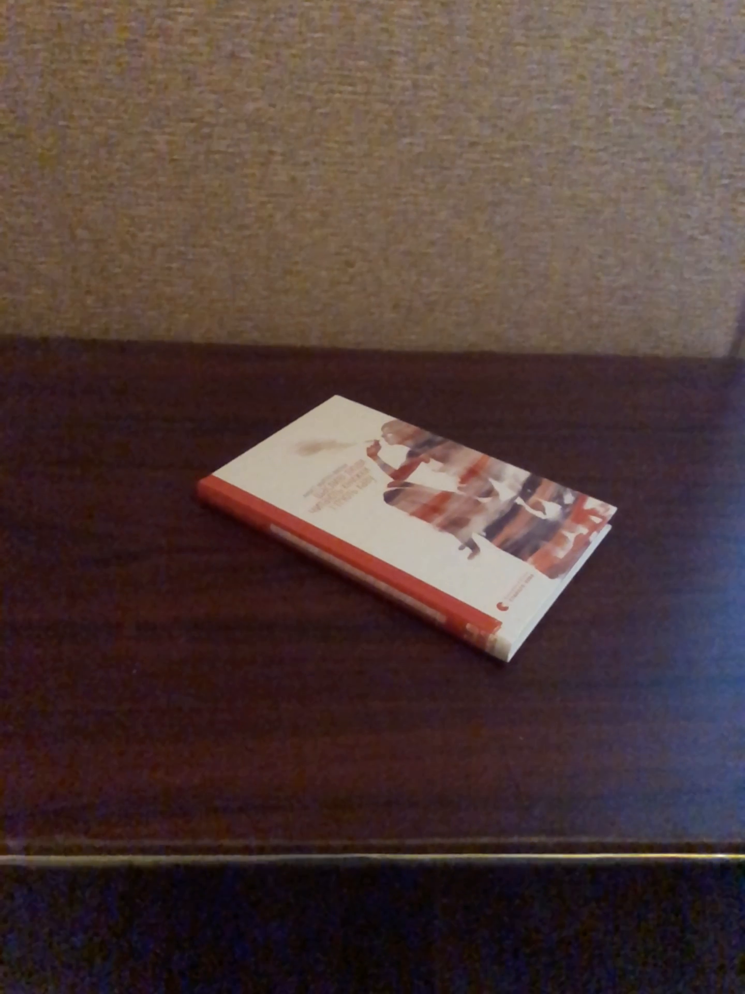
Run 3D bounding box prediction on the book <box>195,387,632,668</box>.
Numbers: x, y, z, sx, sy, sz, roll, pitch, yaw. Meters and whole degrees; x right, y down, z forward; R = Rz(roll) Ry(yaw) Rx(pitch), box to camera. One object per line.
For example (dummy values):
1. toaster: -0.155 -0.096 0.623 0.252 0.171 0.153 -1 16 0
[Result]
1. book: 0.025 0.003 0.516 0.228 0.020 0.151 24 40 26
